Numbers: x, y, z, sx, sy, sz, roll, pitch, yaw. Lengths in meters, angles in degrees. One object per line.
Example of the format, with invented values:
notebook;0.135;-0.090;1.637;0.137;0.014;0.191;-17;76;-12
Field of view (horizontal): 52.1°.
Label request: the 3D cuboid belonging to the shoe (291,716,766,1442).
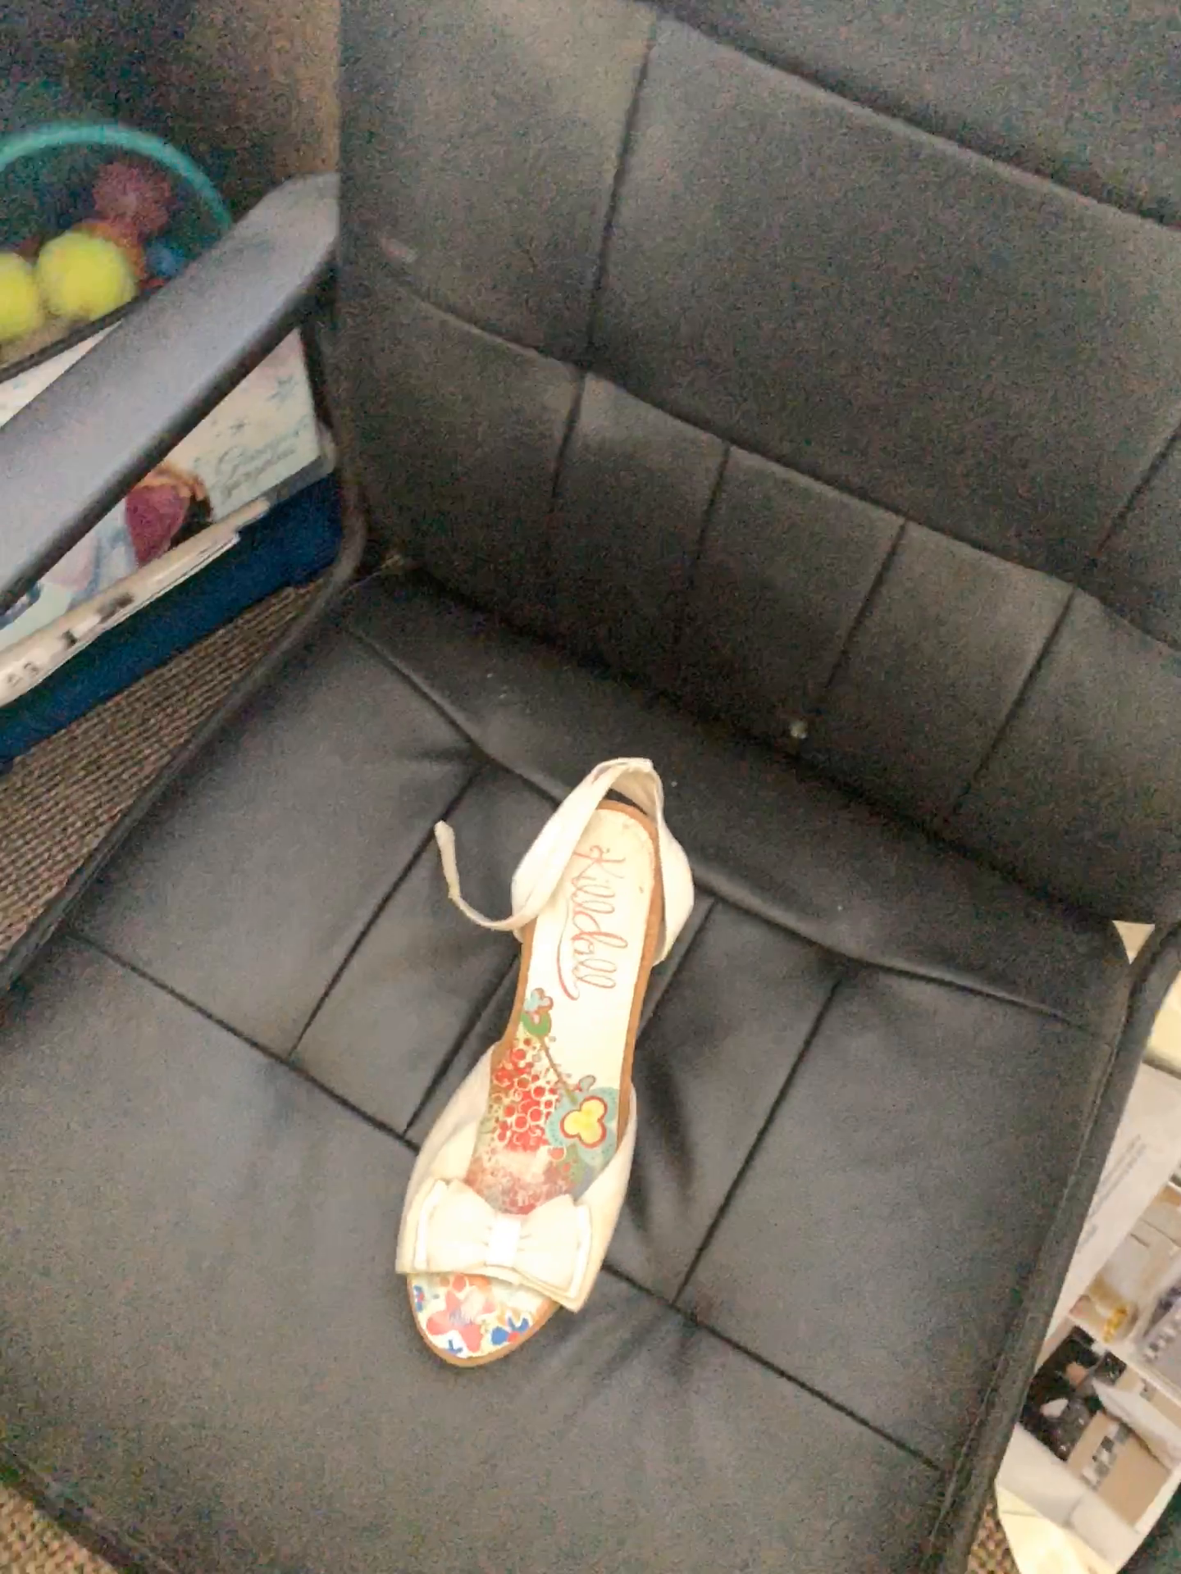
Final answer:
shoe;-0.019;0.129;0.521;0.100;0.189;0.241;17;65;4
